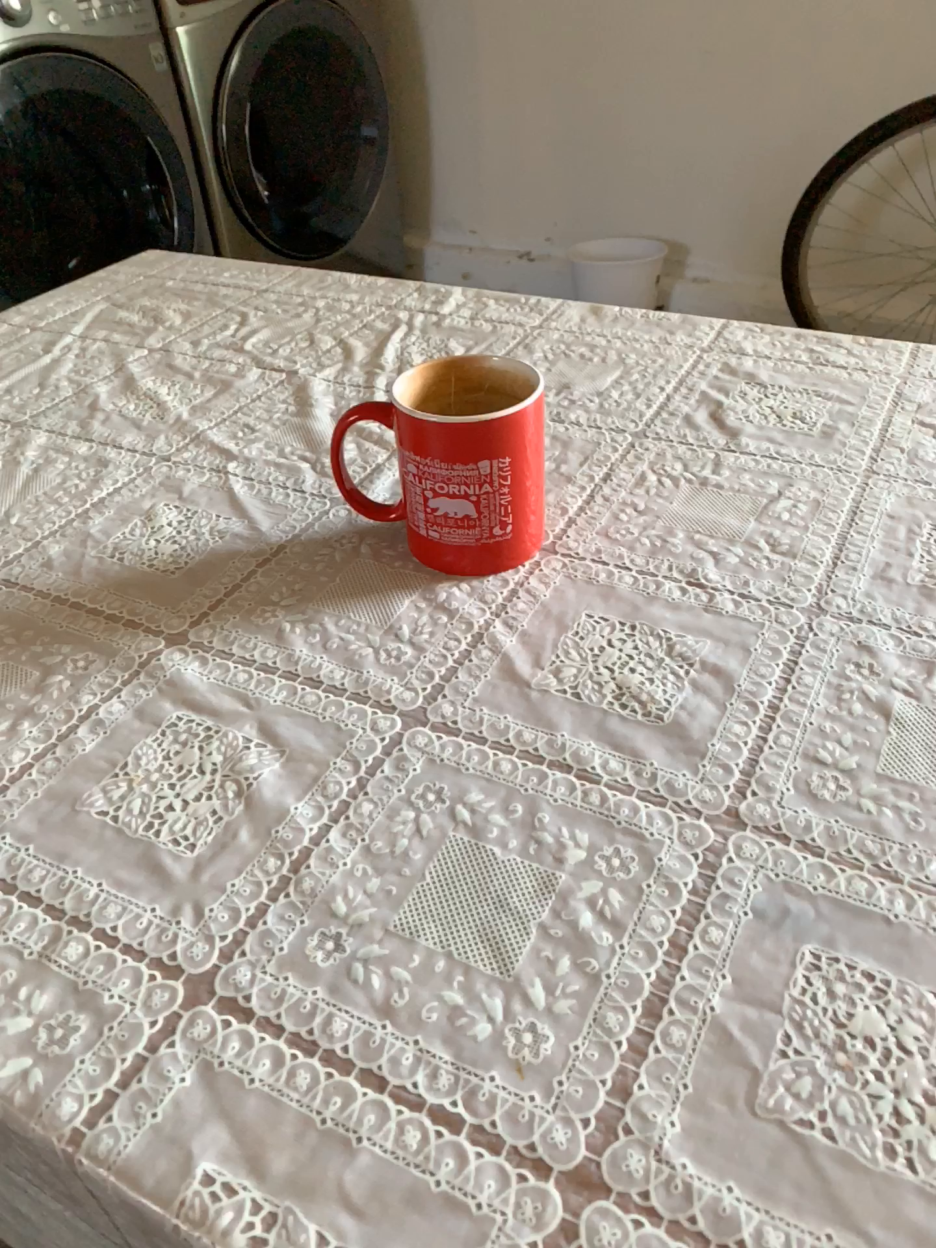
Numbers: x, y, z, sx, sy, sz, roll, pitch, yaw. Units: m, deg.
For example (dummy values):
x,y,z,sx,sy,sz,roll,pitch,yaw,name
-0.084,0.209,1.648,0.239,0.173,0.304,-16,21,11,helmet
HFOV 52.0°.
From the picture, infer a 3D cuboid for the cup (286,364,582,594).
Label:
x,y,z,sx,sy,sz,roll,pitch,yaw,name
-0.013,-0.088,0.558,0.140,0.080,0.100,8,41,17,cup
